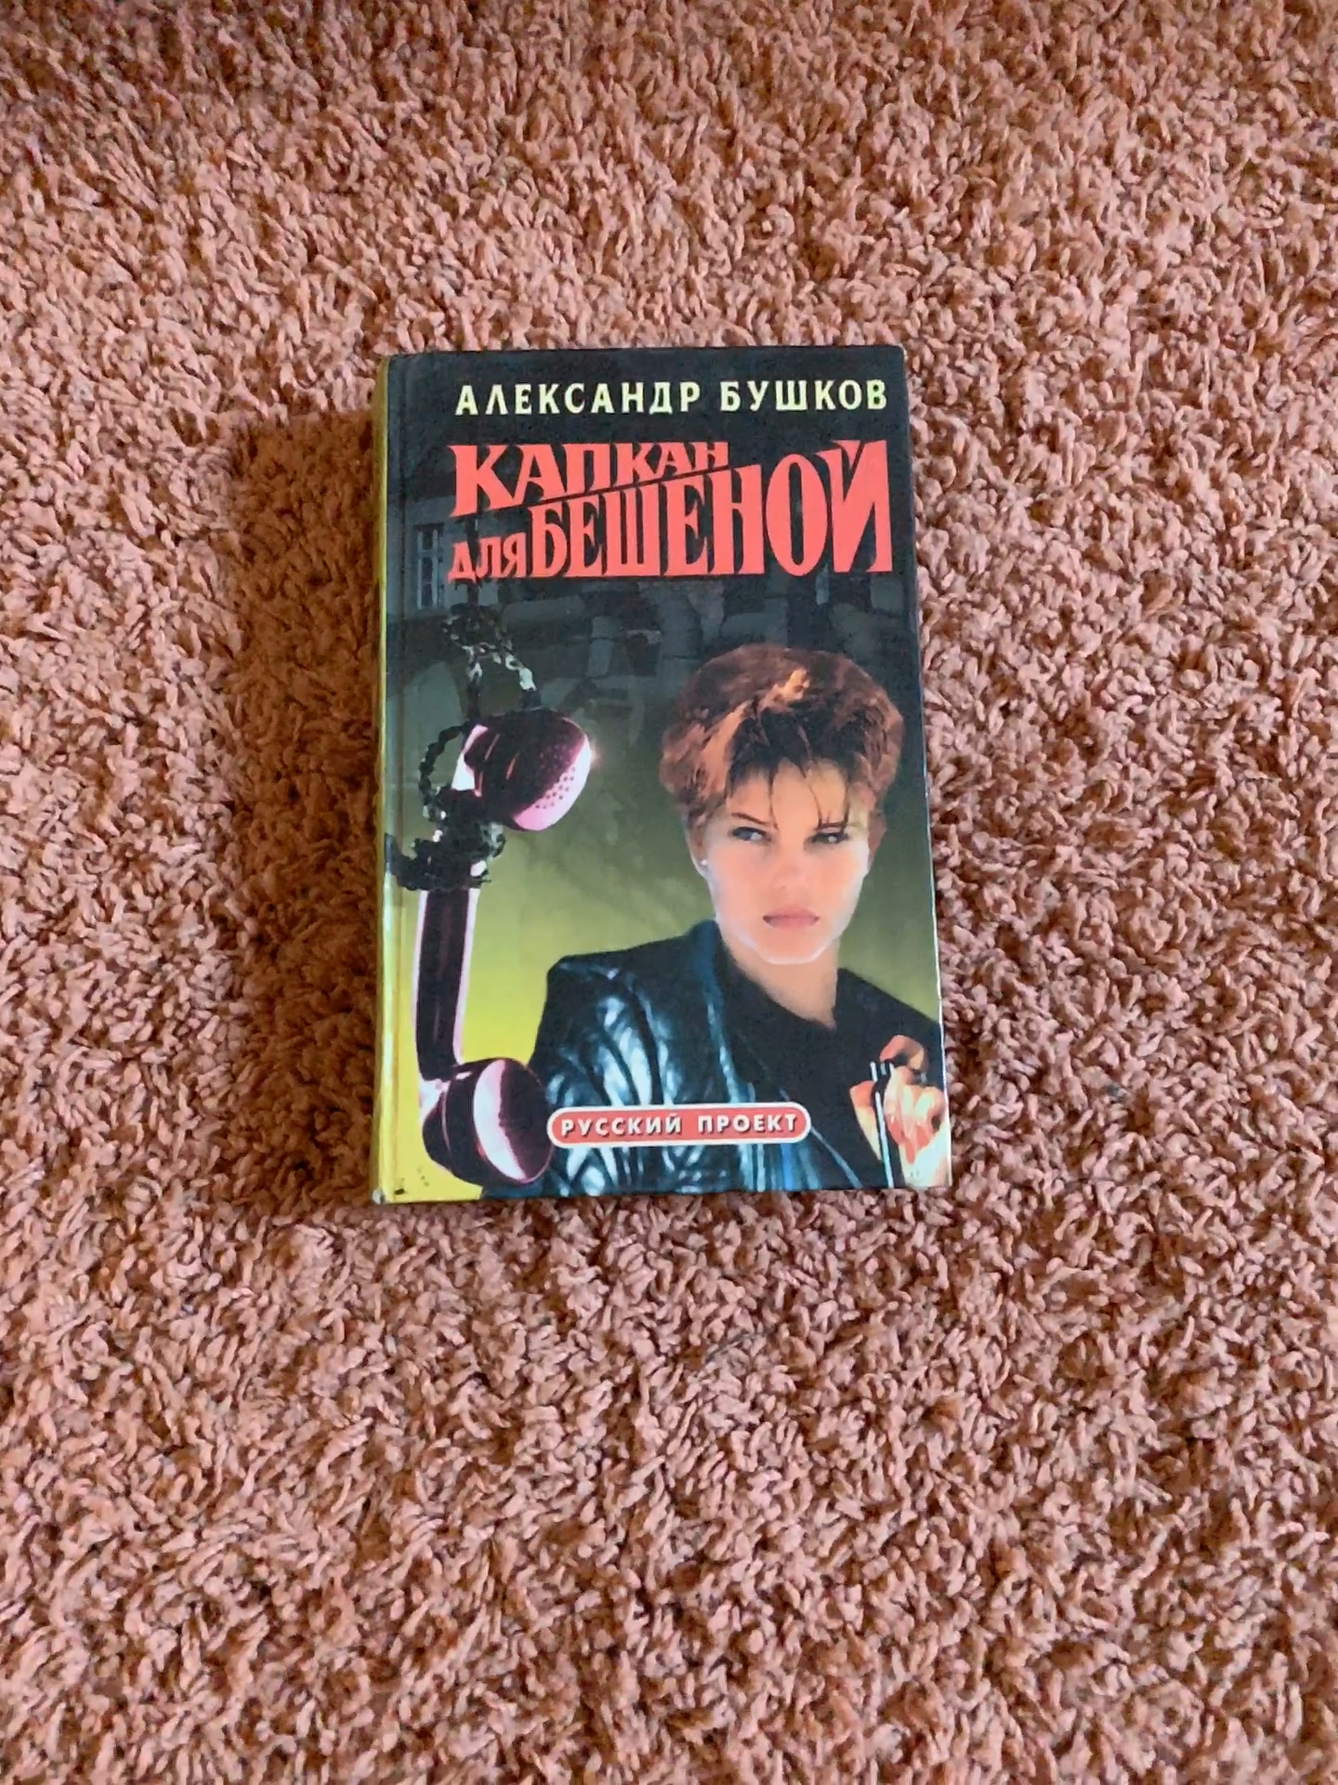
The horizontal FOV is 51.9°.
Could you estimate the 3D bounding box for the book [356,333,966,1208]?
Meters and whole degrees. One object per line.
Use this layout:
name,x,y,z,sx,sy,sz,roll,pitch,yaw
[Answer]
book,-0.004,-0.029,0.309,0.124,0.027,0.190,-1,81,-1
